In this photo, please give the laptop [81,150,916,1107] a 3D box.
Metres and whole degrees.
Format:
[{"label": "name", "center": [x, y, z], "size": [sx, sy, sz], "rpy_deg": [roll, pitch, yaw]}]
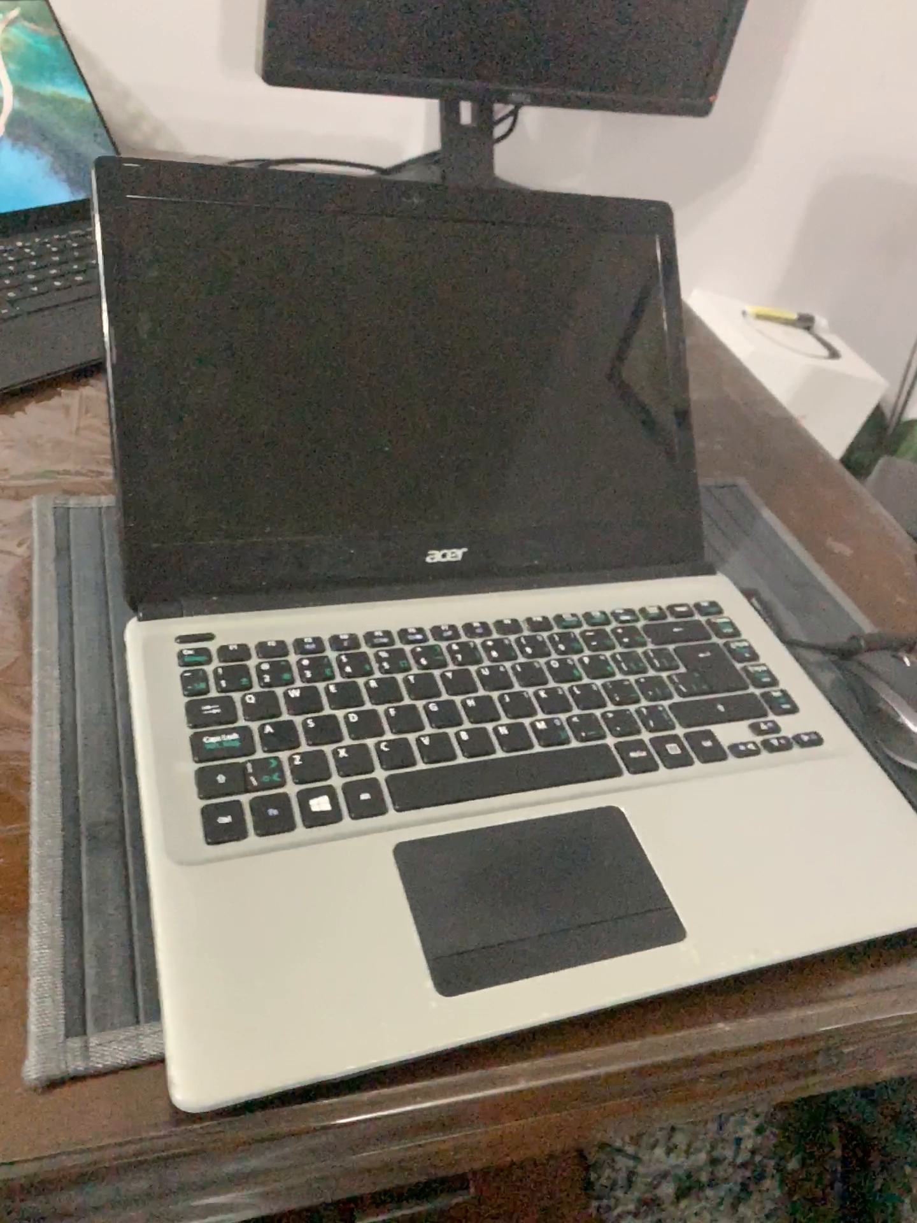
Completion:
[{"label": "laptop", "center": [0.021, -0.048, 0.427], "size": [0.330, 0.146, 0.387], "rpy_deg": [-4, 43, -22]}]
